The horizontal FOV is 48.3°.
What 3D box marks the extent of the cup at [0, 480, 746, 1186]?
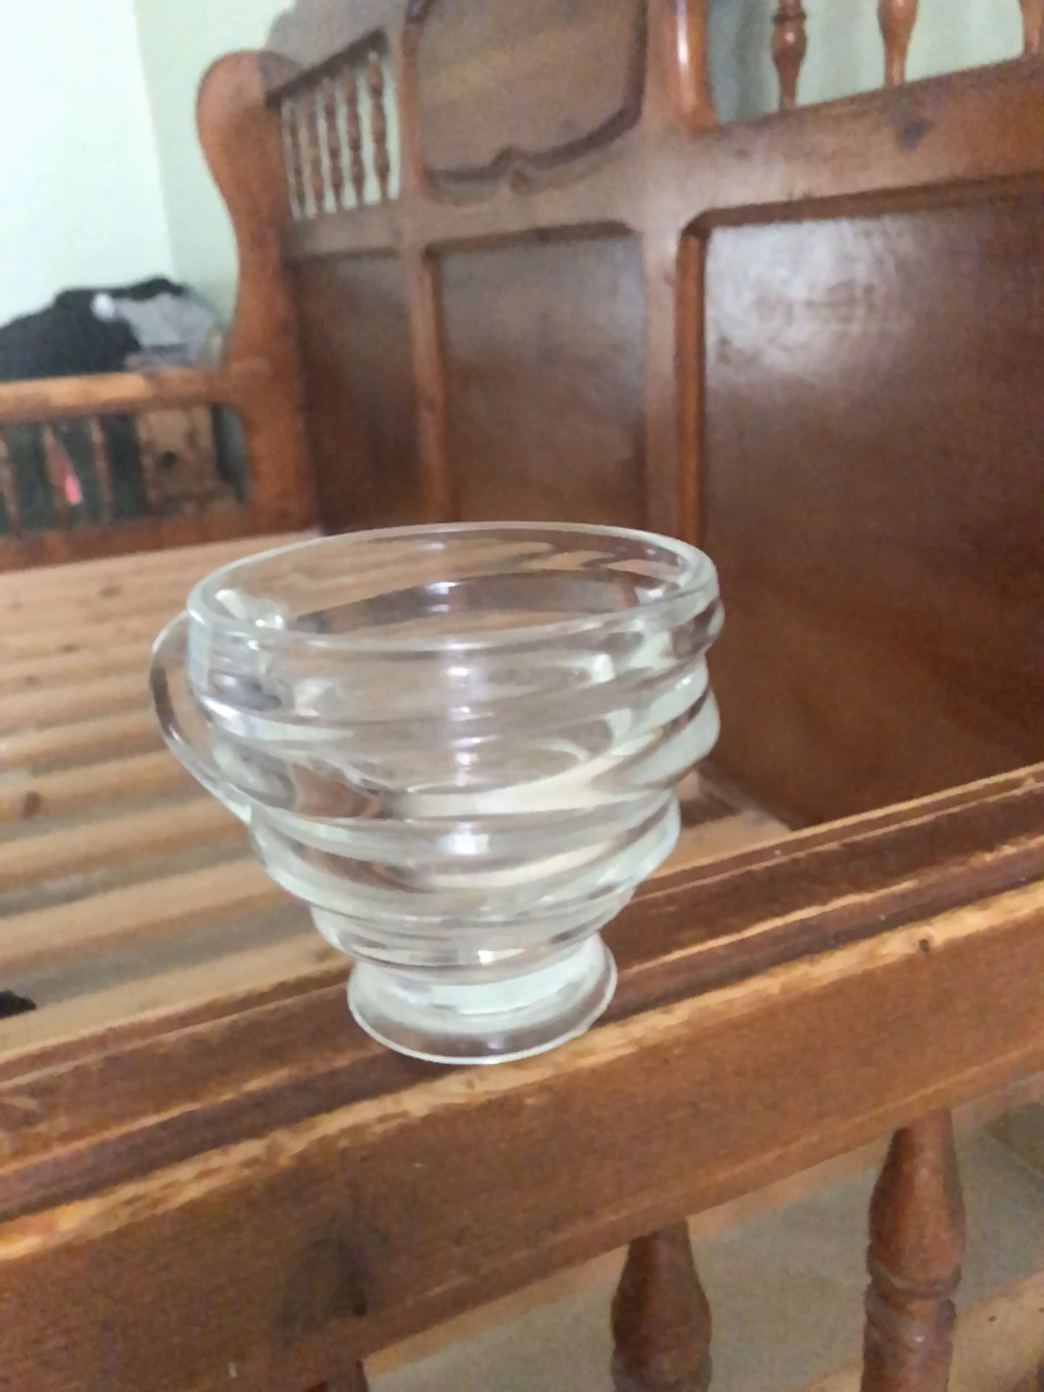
[{"bbox_3d":[-0.030,0.007,0.188,0.106,0.065,0.076,13,25,39],"label":"cup"}]
